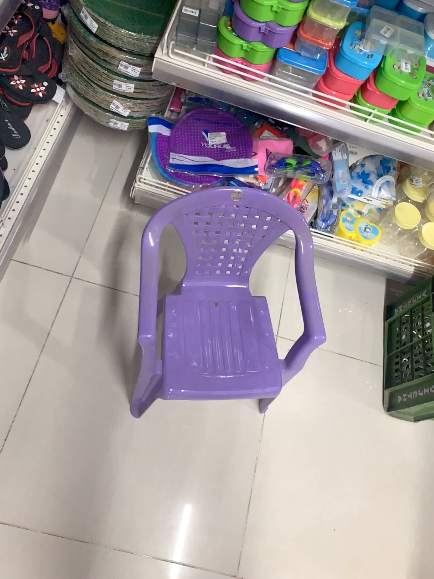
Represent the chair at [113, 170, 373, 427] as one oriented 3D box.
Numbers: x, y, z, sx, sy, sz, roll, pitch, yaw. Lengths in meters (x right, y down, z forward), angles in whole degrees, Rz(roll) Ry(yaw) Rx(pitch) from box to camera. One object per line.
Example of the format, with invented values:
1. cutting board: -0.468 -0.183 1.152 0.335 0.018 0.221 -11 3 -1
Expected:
1. chair: -0.007 0.052 0.958 0.420 0.430 0.400 0 67 -13
